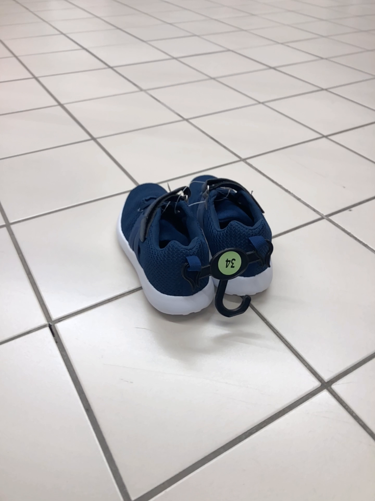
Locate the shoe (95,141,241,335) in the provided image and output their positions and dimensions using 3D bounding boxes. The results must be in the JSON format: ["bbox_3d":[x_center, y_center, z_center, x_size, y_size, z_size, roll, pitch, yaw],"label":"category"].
[{"bbox_3d":[-0.036,-0.031,0.494,0.094,0.095,0.239,-12,41,-17],"label":"shoe"}]

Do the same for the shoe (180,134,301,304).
[{"bbox_3d":[0.051,-0.054,0.527,0.102,0.094,0.237,-2,39,-5],"label":"shoe"}]
